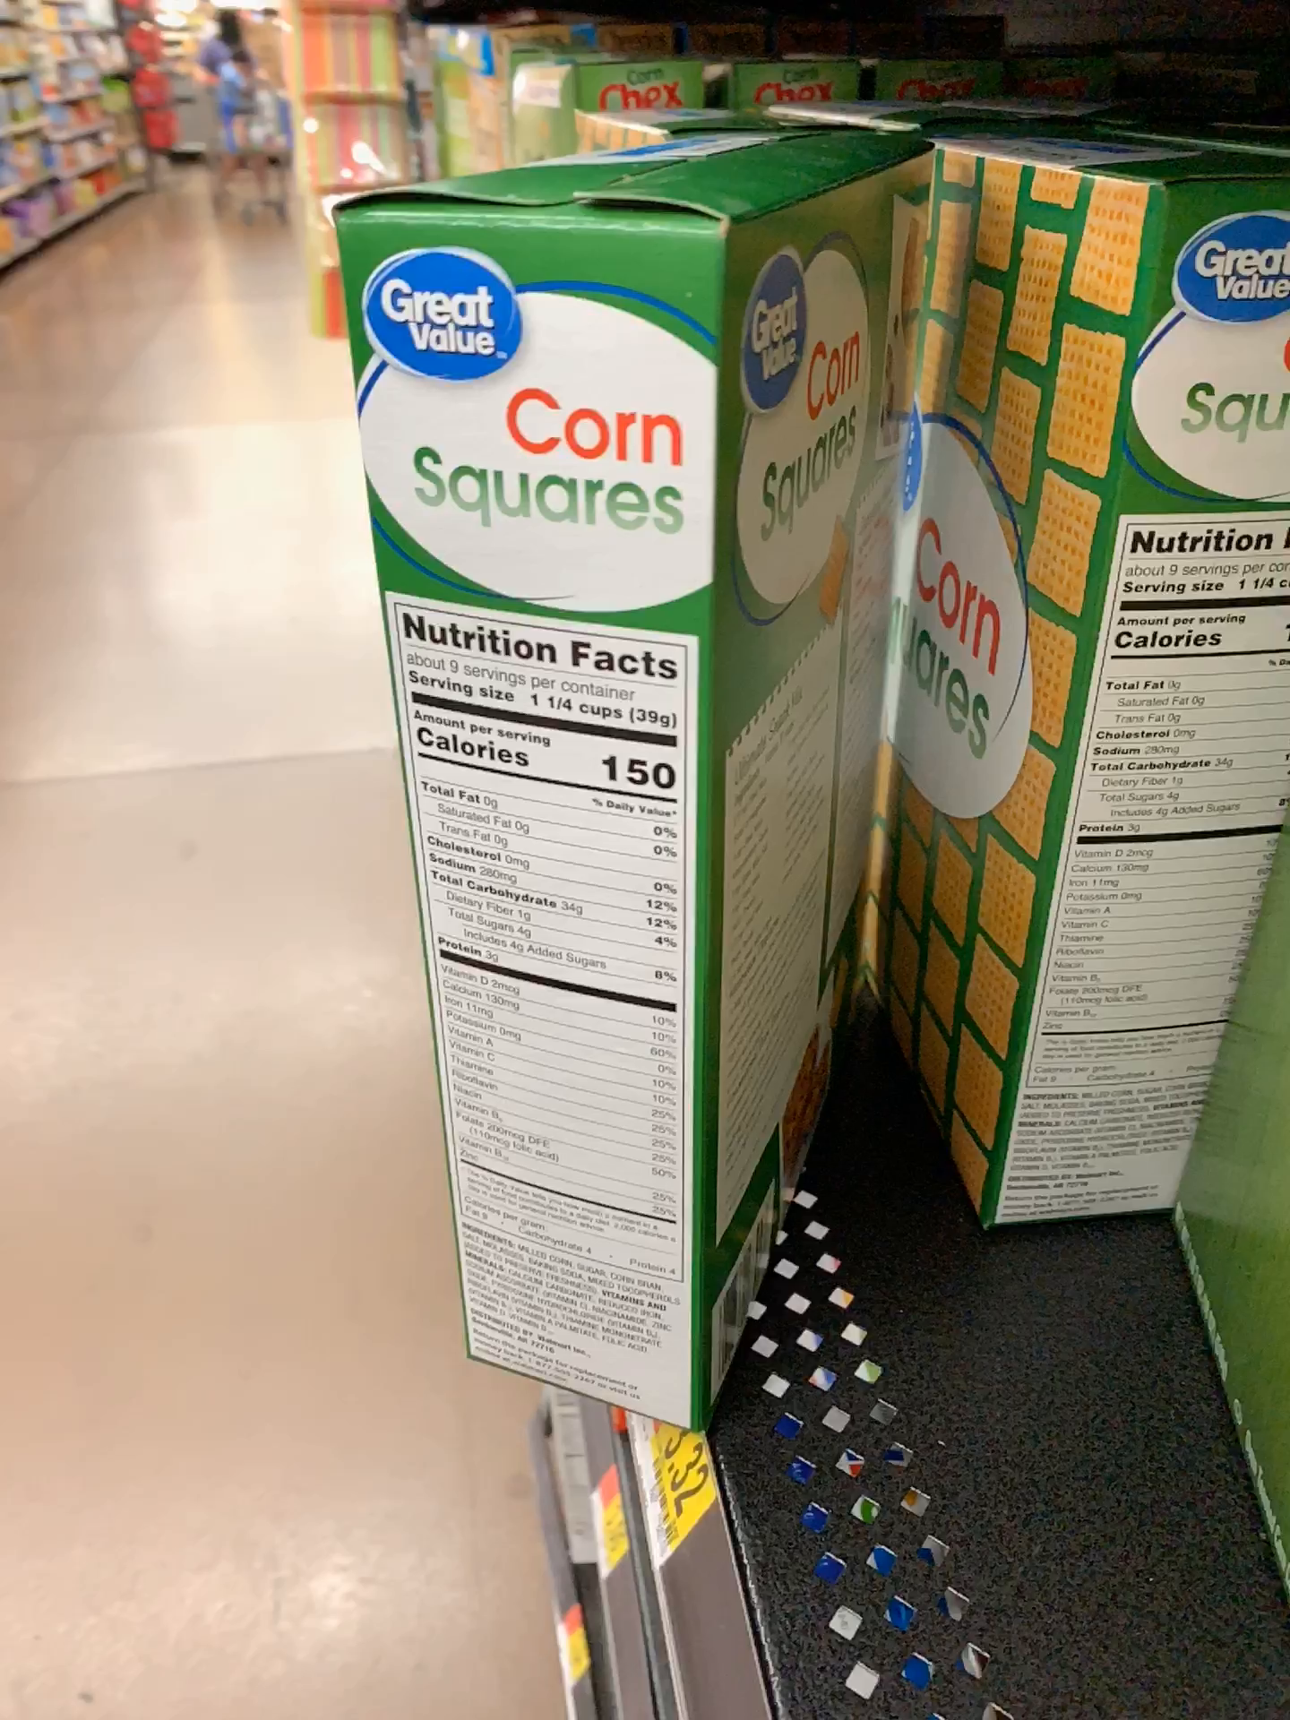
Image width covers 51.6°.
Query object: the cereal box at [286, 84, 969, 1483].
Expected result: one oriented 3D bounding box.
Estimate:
[{"bbox_3d":[0.017,-0.027,0.340,0.070,0.288,0.201,10,34,17],"label":"cereal box"}]
